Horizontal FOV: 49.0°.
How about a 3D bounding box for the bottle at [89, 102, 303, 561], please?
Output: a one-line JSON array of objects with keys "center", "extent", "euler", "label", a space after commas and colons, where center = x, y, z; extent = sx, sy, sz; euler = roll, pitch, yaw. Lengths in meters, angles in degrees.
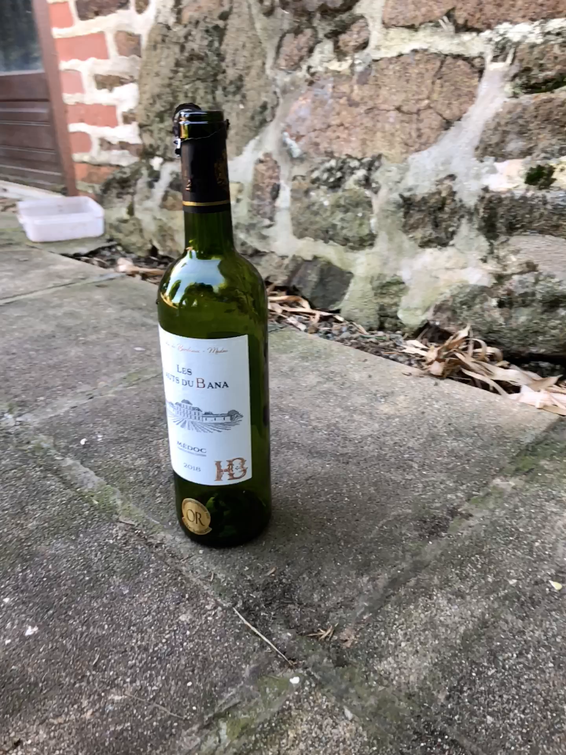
[{"center": [-0.048, -0.028, 0.424], "extent": [0.090, 0.288, 0.080], "euler": [12, 28, 28], "label": "bottle"}]
